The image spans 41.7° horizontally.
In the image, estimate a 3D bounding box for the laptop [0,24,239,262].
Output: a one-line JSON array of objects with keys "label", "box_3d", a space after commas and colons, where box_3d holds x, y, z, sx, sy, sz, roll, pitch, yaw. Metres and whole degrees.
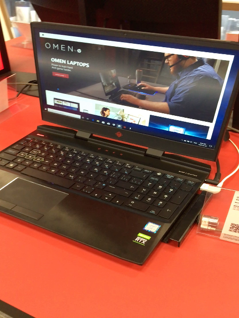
[{"label": "laptop", "box_3d": [-0.061, -0.056, 0.498, 0.383, 0.221, 0.287, 18, 45, 24]}]
